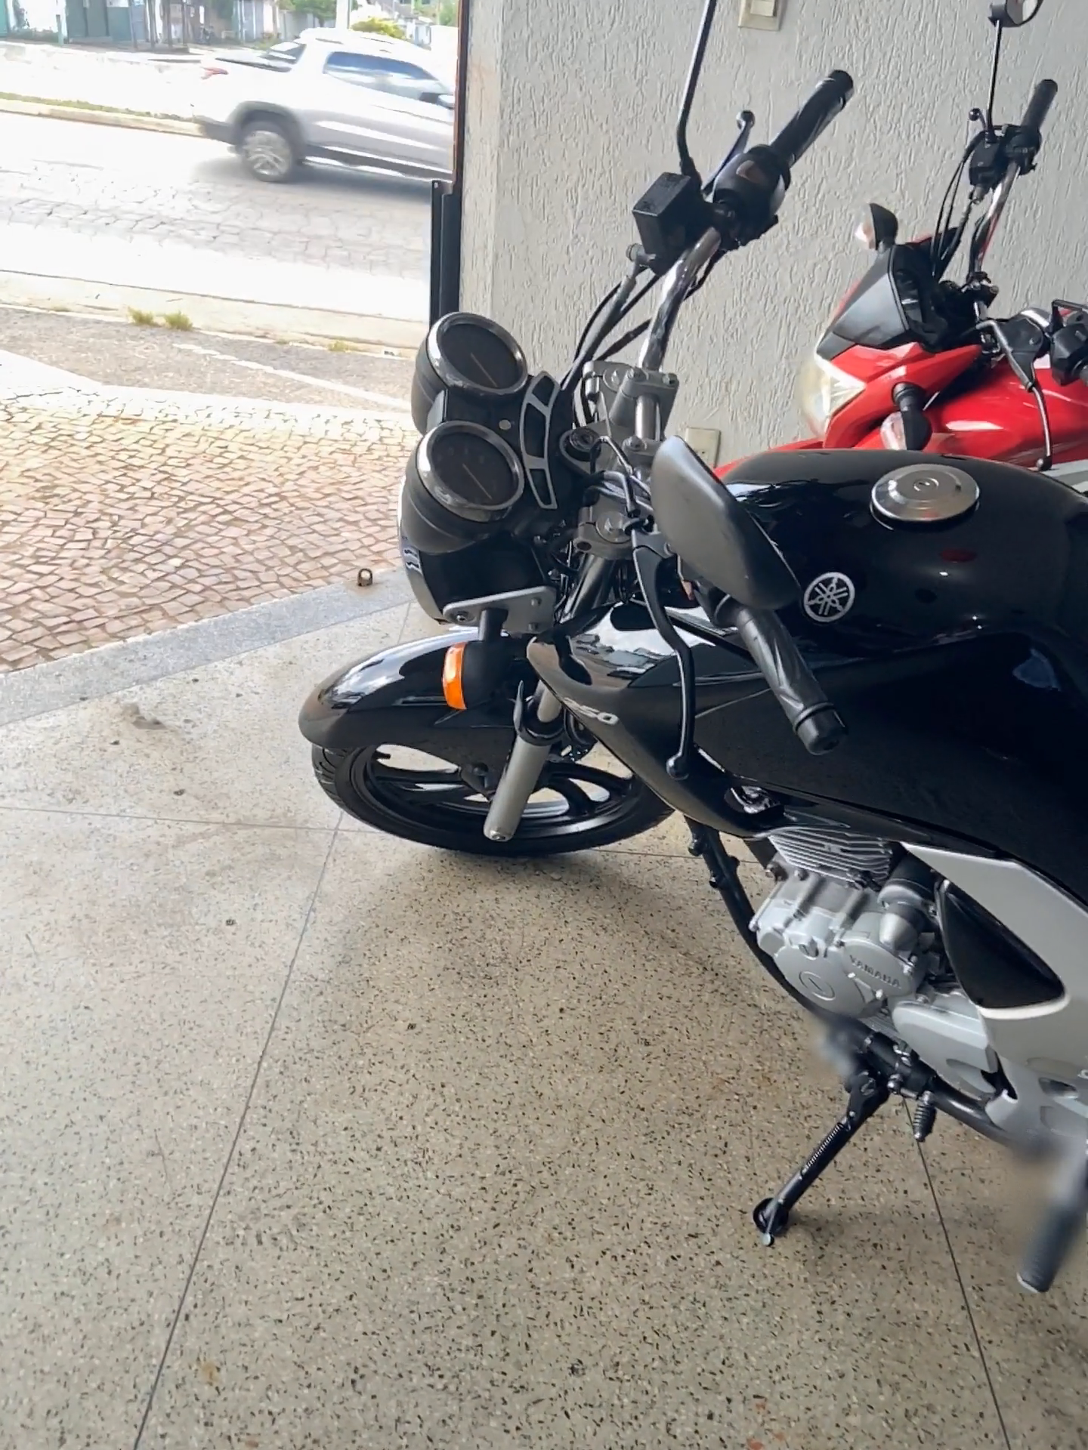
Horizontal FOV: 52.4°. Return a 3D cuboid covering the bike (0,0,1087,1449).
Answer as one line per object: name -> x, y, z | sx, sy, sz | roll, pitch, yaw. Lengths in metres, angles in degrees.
bike -> 0.540, 0.170, 1.142 | 1.878, 1.511, 0.848 | 20, 35, 19
